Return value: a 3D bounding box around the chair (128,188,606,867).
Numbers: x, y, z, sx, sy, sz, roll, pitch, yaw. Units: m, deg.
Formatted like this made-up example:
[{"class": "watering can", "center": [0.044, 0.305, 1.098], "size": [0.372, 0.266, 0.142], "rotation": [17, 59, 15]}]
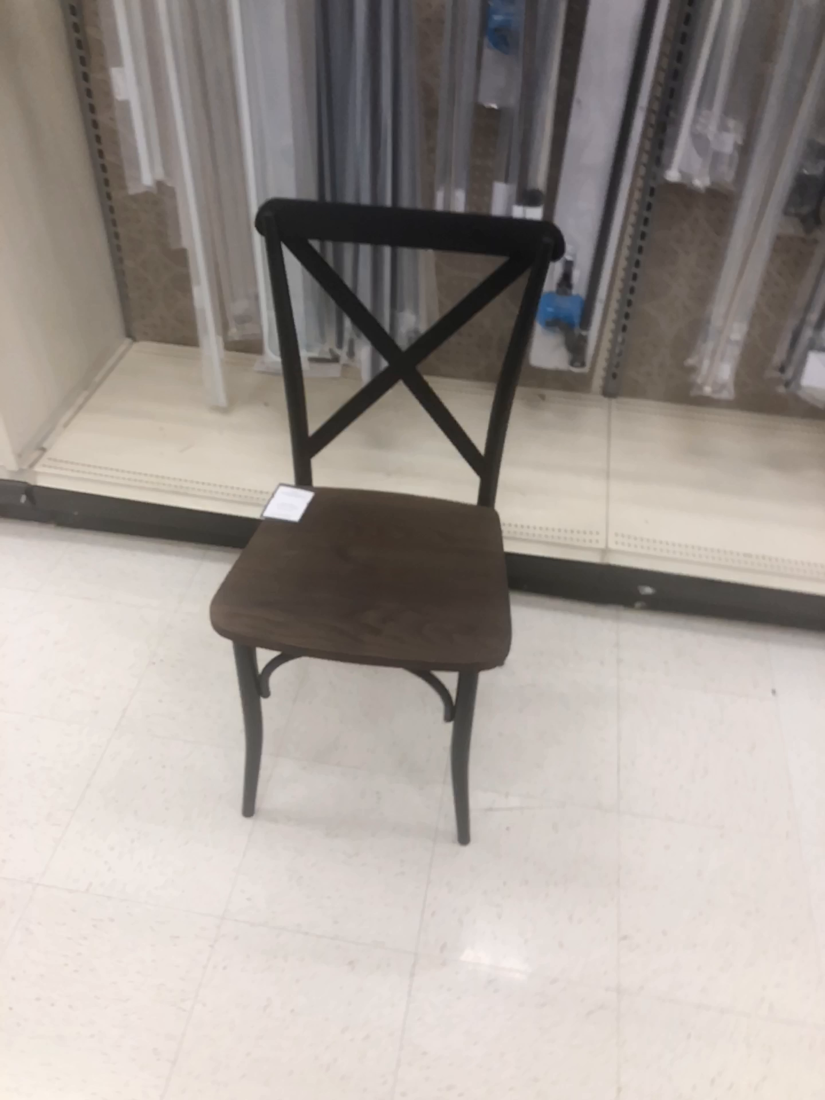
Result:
[{"class": "chair", "center": [-0.023, -0.013, 1.358], "size": [0.475, 0.812, 0.528], "rotation": [7, 42, 5]}]
